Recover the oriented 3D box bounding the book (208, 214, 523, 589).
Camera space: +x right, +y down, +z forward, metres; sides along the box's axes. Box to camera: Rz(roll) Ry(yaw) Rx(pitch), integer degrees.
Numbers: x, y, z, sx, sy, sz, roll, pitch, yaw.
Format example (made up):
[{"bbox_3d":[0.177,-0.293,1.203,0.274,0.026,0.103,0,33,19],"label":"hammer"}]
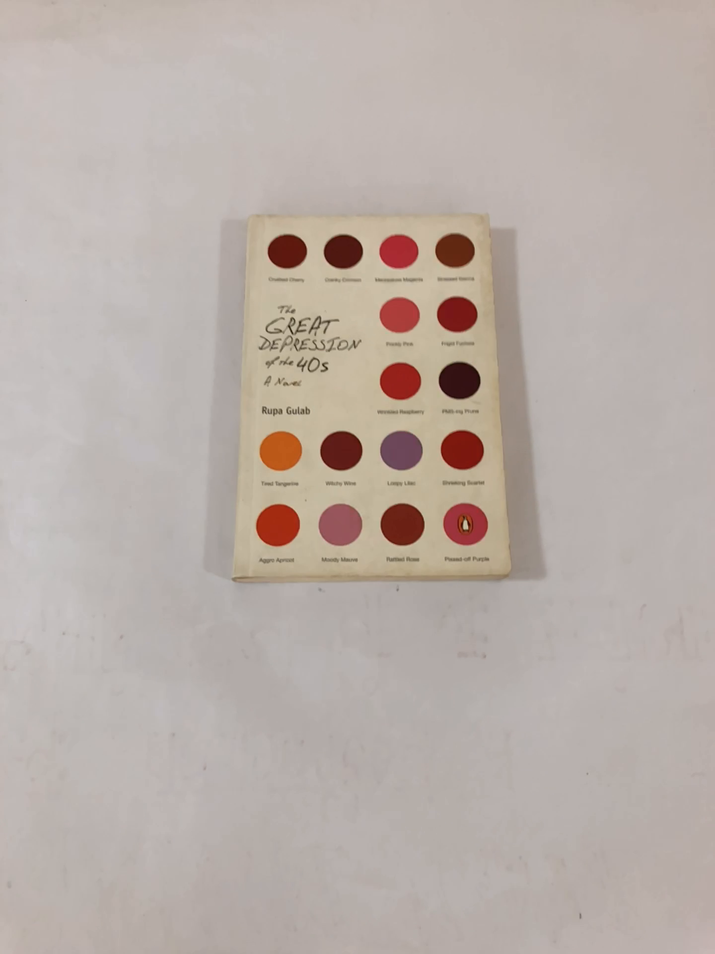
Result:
[{"bbox_3d":[0.003,-0.042,0.398,0.140,0.030,0.190,0,71,0],"label":"book"}]
